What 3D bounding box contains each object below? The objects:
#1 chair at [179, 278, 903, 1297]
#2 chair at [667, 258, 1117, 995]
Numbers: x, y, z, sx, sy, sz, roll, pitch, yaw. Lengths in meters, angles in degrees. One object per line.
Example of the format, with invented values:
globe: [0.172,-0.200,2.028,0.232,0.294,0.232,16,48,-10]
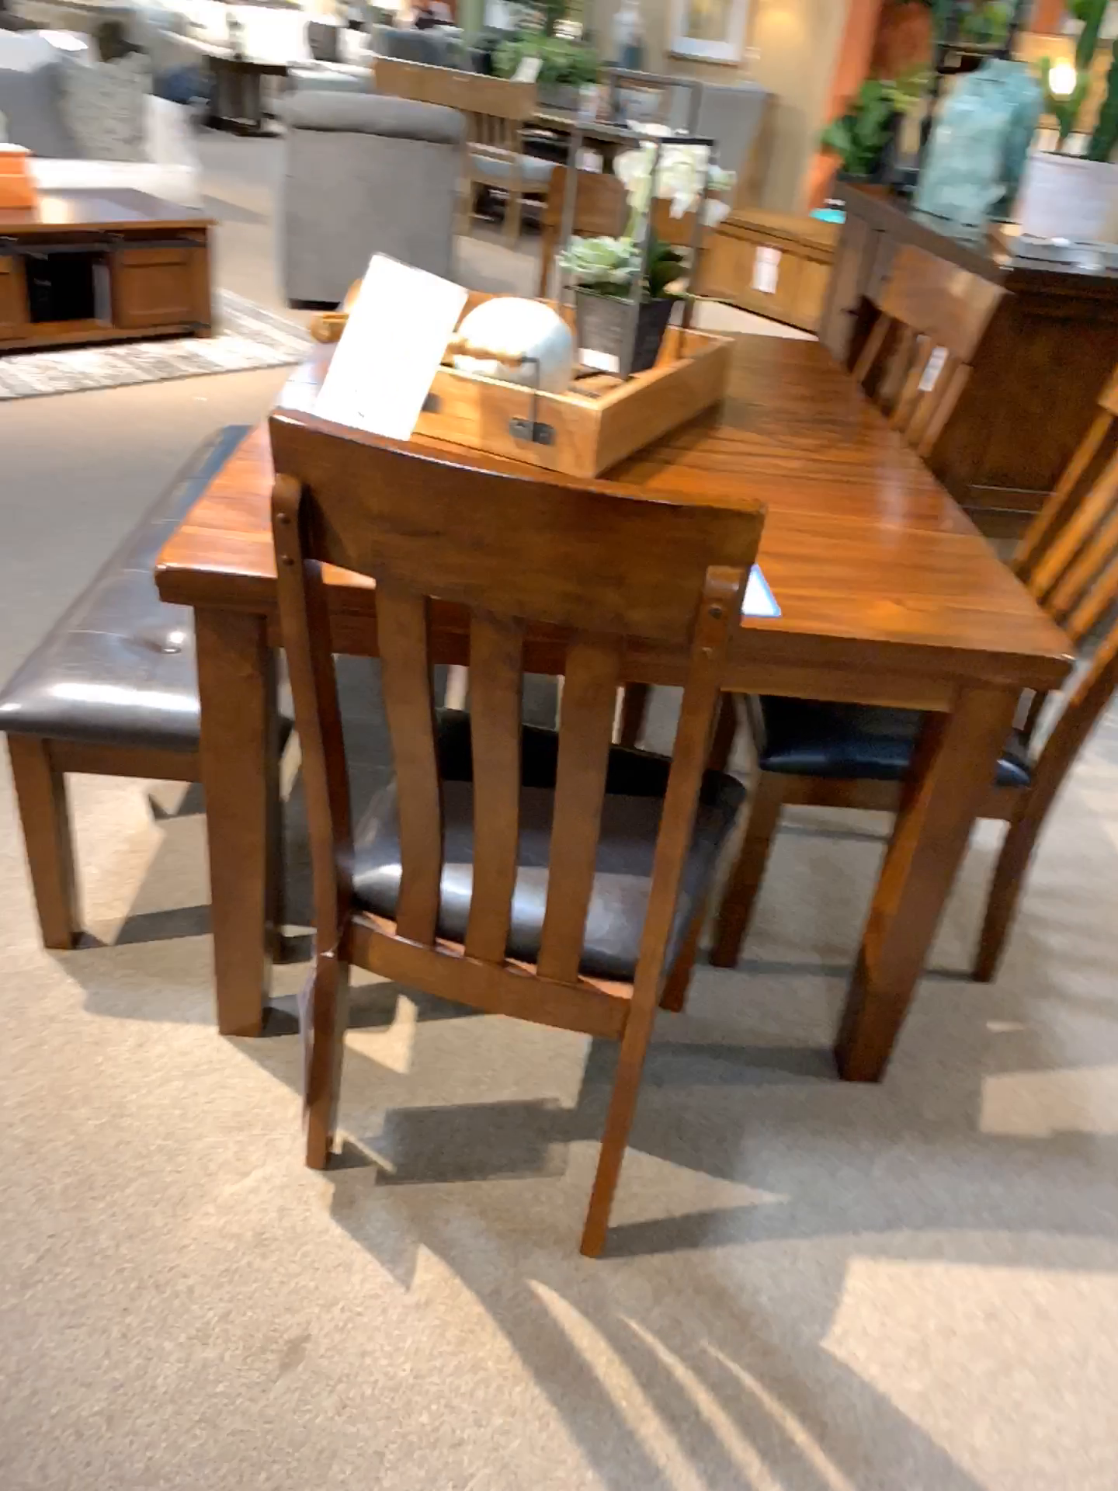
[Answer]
chair: [-0.009,0.032,1.274,0.531,0.890,0.542,14,33,10]
chair: [0.526,-0.176,1.711,0.529,0.890,0.594,4,32,-5]
